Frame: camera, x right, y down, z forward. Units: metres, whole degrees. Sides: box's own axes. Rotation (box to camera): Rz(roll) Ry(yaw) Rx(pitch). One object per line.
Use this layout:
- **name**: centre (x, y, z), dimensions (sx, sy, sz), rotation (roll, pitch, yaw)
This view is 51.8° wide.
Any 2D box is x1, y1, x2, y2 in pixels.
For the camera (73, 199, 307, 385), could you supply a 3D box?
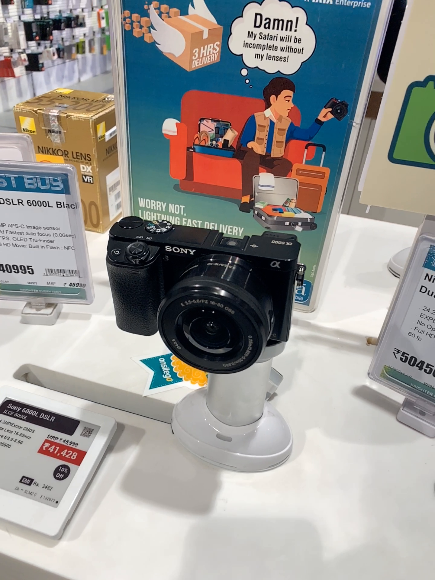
- **camera**: centre (-0.013, -0.001, 0.265), dimensions (0.118, 0.073, 0.056), rotation (9, 36, 7)
